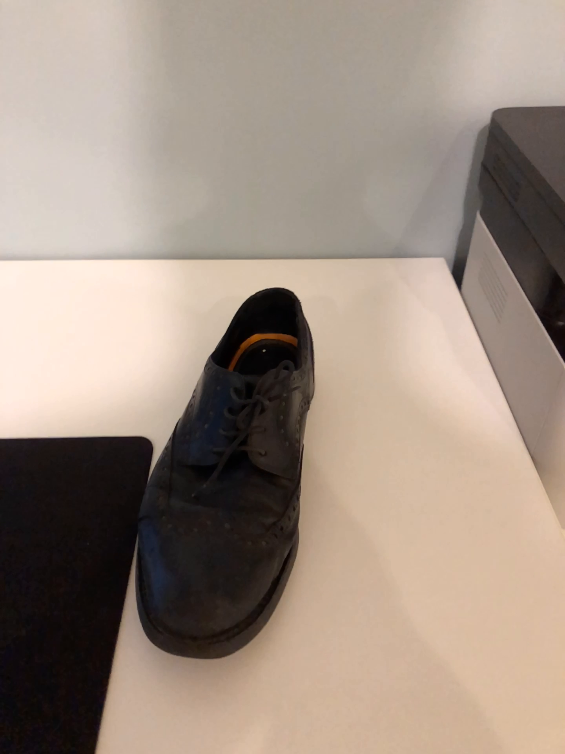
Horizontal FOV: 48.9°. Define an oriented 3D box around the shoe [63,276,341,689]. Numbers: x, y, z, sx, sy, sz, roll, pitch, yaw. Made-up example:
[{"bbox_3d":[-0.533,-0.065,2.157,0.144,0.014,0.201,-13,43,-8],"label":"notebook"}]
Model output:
[{"bbox_3d":[-0.032,0.046,0.465,0.119,0.079,0.315,6,41,7],"label":"shoe"}]
